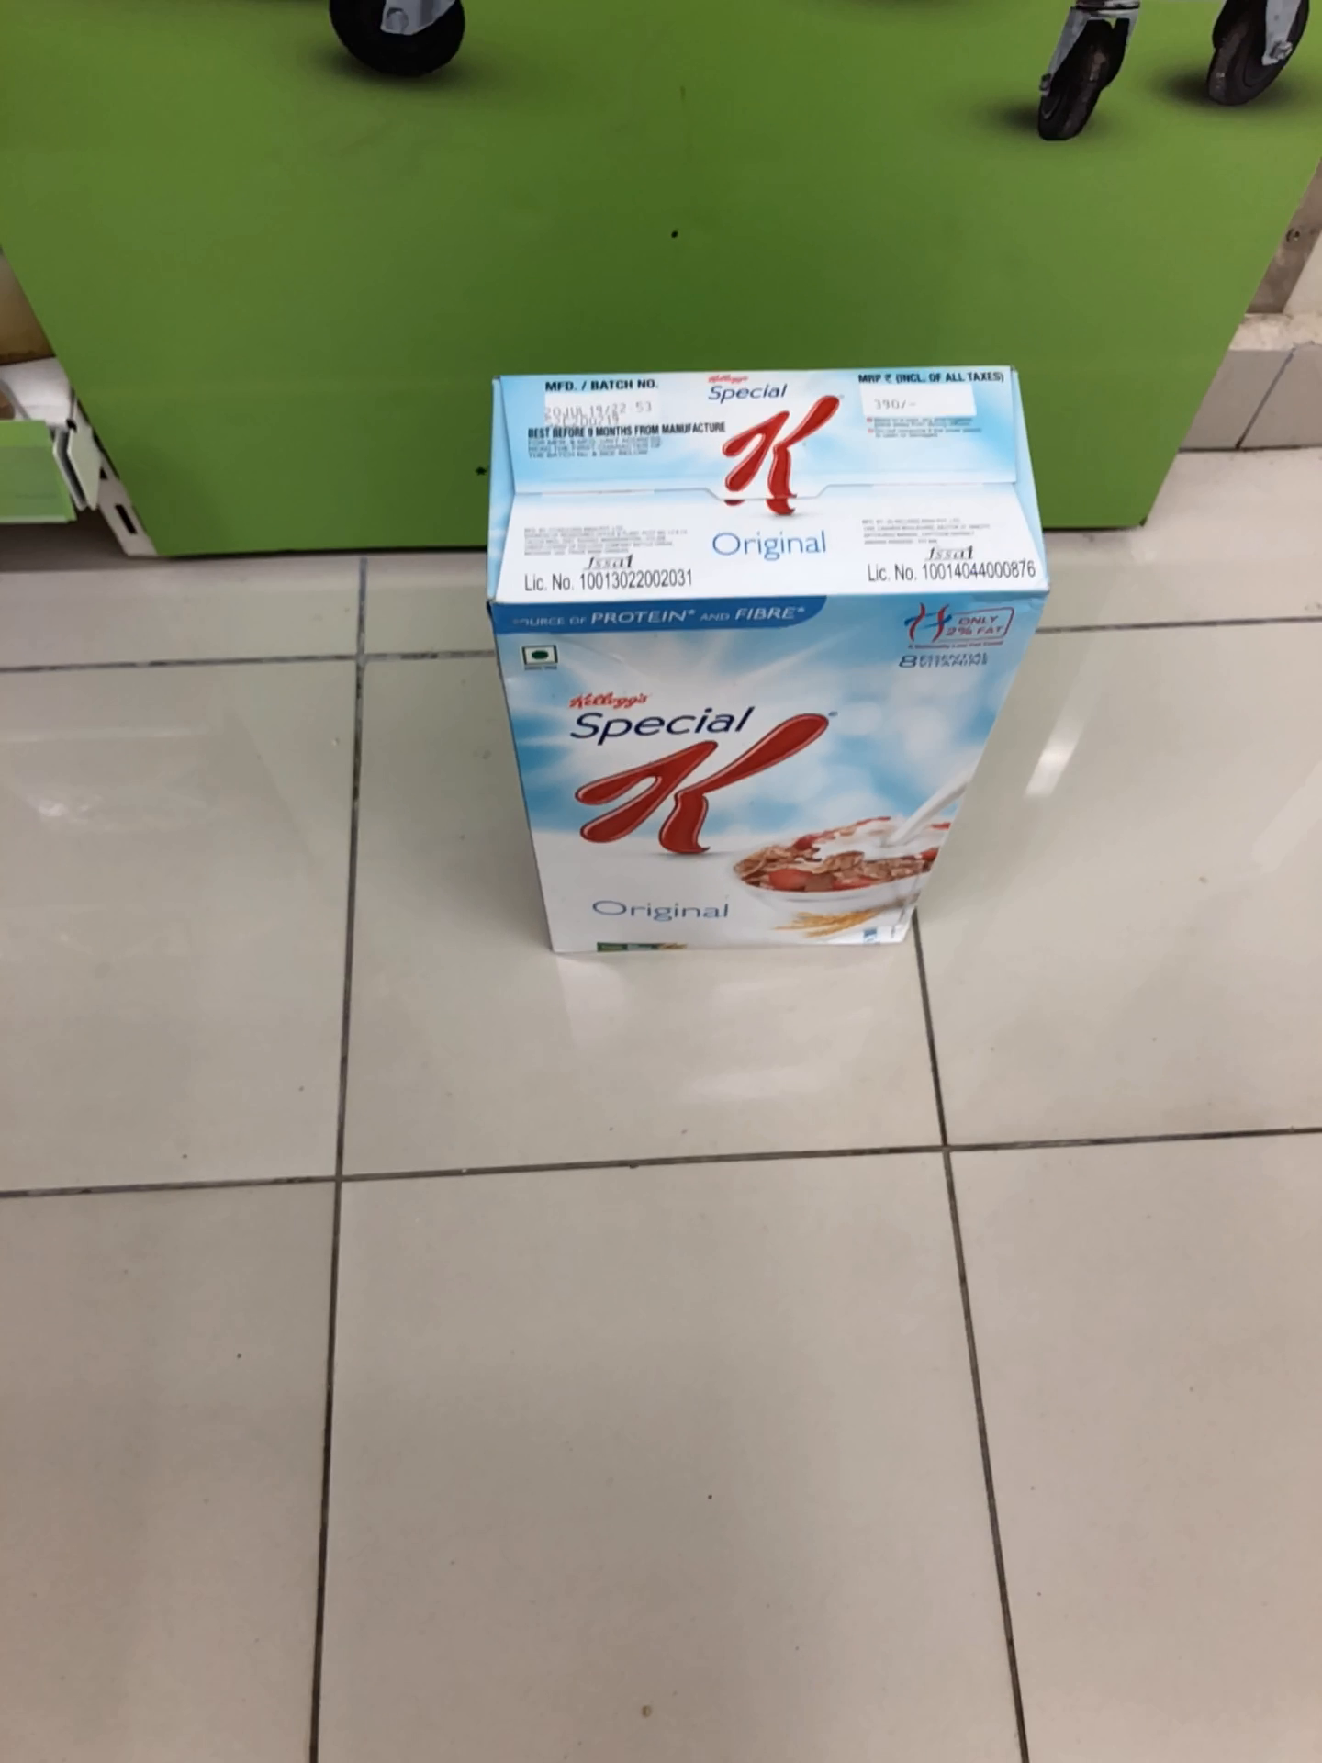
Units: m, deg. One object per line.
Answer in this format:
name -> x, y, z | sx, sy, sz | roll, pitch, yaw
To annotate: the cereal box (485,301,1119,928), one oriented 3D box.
cereal box -> 0.041, -0.088, 0.621 | 0.200, 0.309, 0.100 | -2, 66, -2
